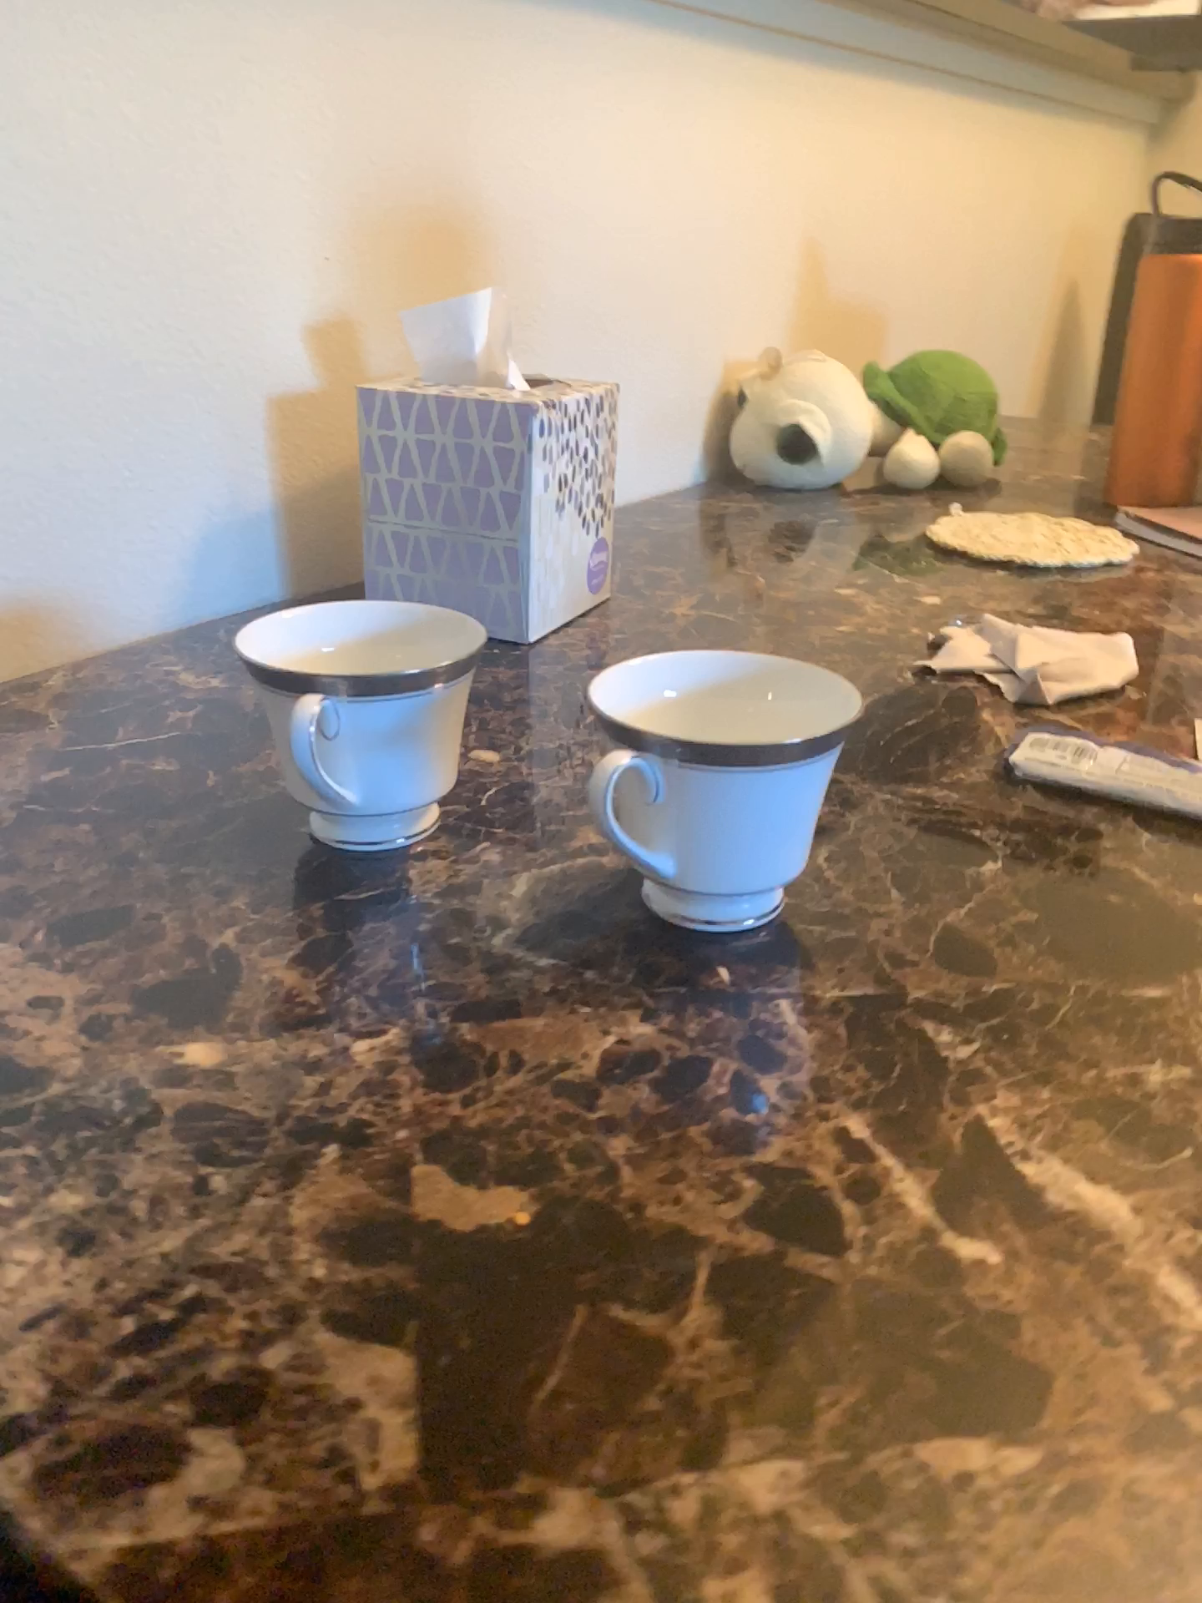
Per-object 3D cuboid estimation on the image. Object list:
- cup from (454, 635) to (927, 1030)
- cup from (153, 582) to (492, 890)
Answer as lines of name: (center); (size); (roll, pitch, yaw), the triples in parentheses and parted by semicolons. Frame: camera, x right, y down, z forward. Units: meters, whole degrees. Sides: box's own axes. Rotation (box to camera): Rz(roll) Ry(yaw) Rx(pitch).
cup: (0.029, 0.002, 0.400); (0.120, 0.070, 0.090); (-20, 33, -39)
cup: (-0.090, -0.028, 0.436); (0.090, 0.070, 0.111); (2, 25, 1)
